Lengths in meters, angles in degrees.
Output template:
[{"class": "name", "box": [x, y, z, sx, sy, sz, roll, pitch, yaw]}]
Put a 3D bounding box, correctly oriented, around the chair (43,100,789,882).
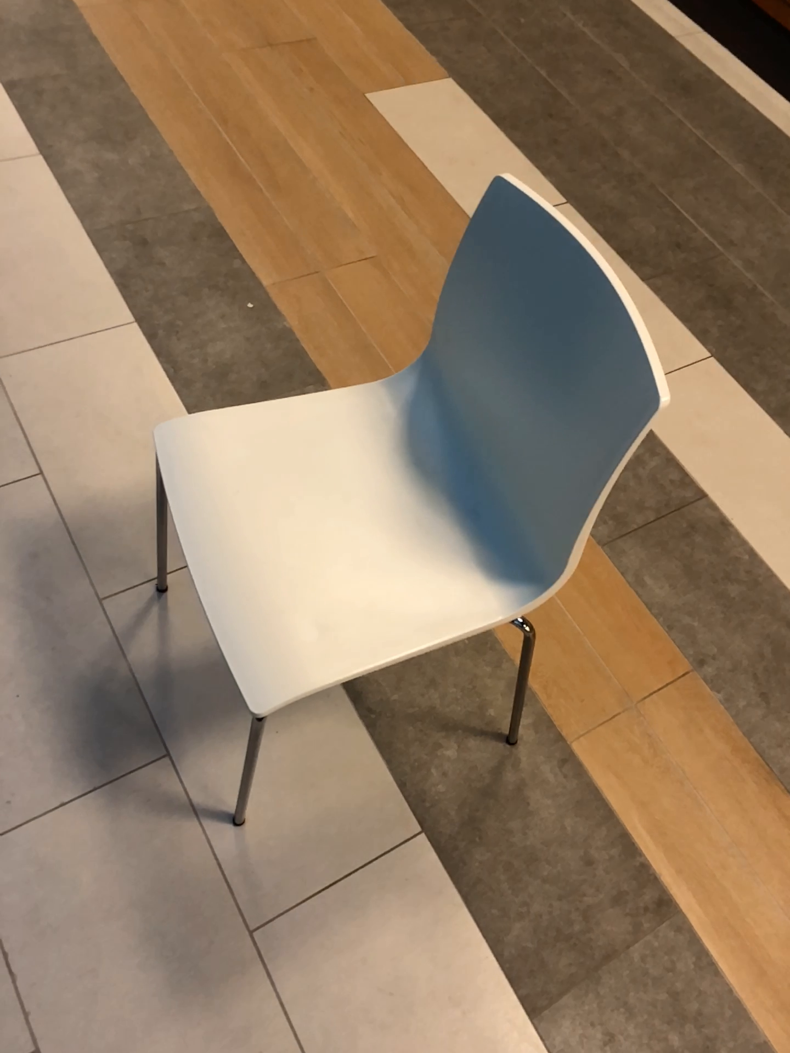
[{"class": "chair", "box": [-0.042, -0.003, 1.149, 0.551, 0.777, 0.582, -18, 62, -21]}]
